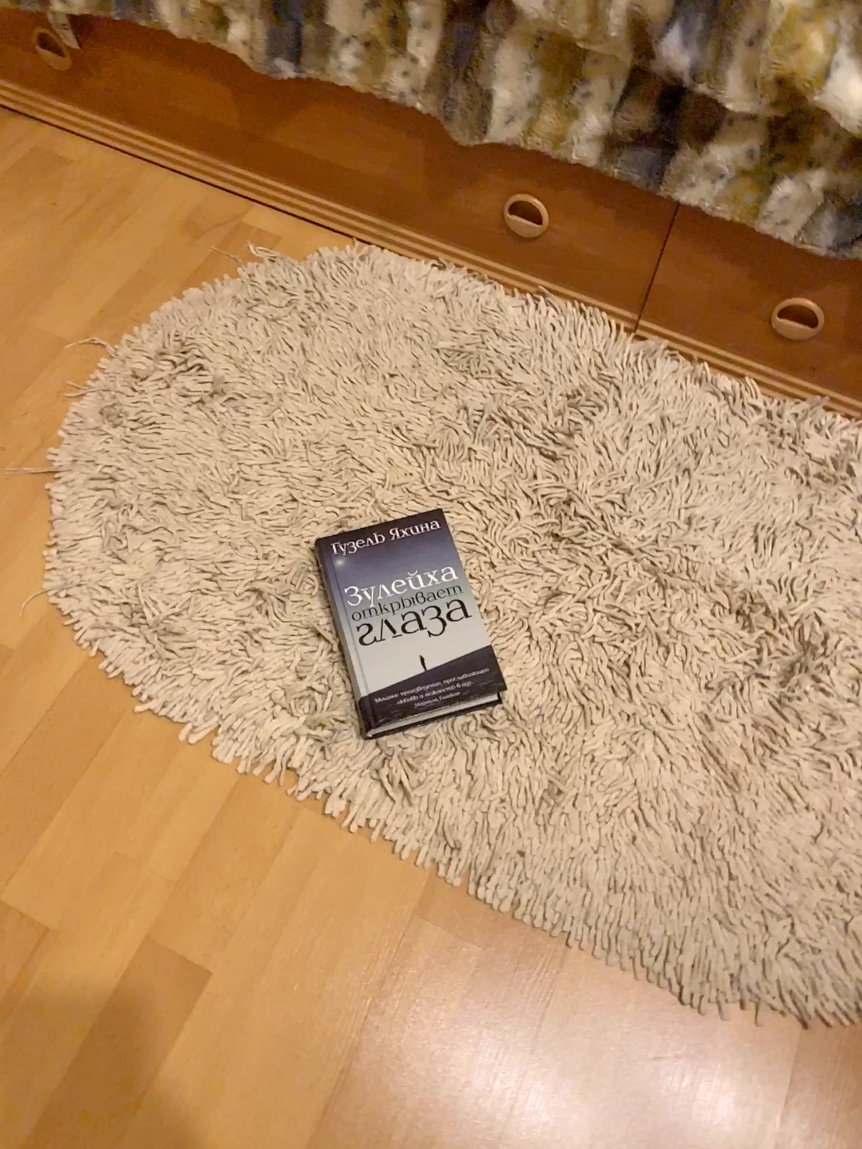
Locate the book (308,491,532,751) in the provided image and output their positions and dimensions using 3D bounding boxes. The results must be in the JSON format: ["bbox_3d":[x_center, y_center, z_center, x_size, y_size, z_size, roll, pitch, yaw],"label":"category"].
[{"bbox_3d":[-0.016,0.037,0.821,0.150,0.040,0.221,-13,62,-11],"label":"book"}]
